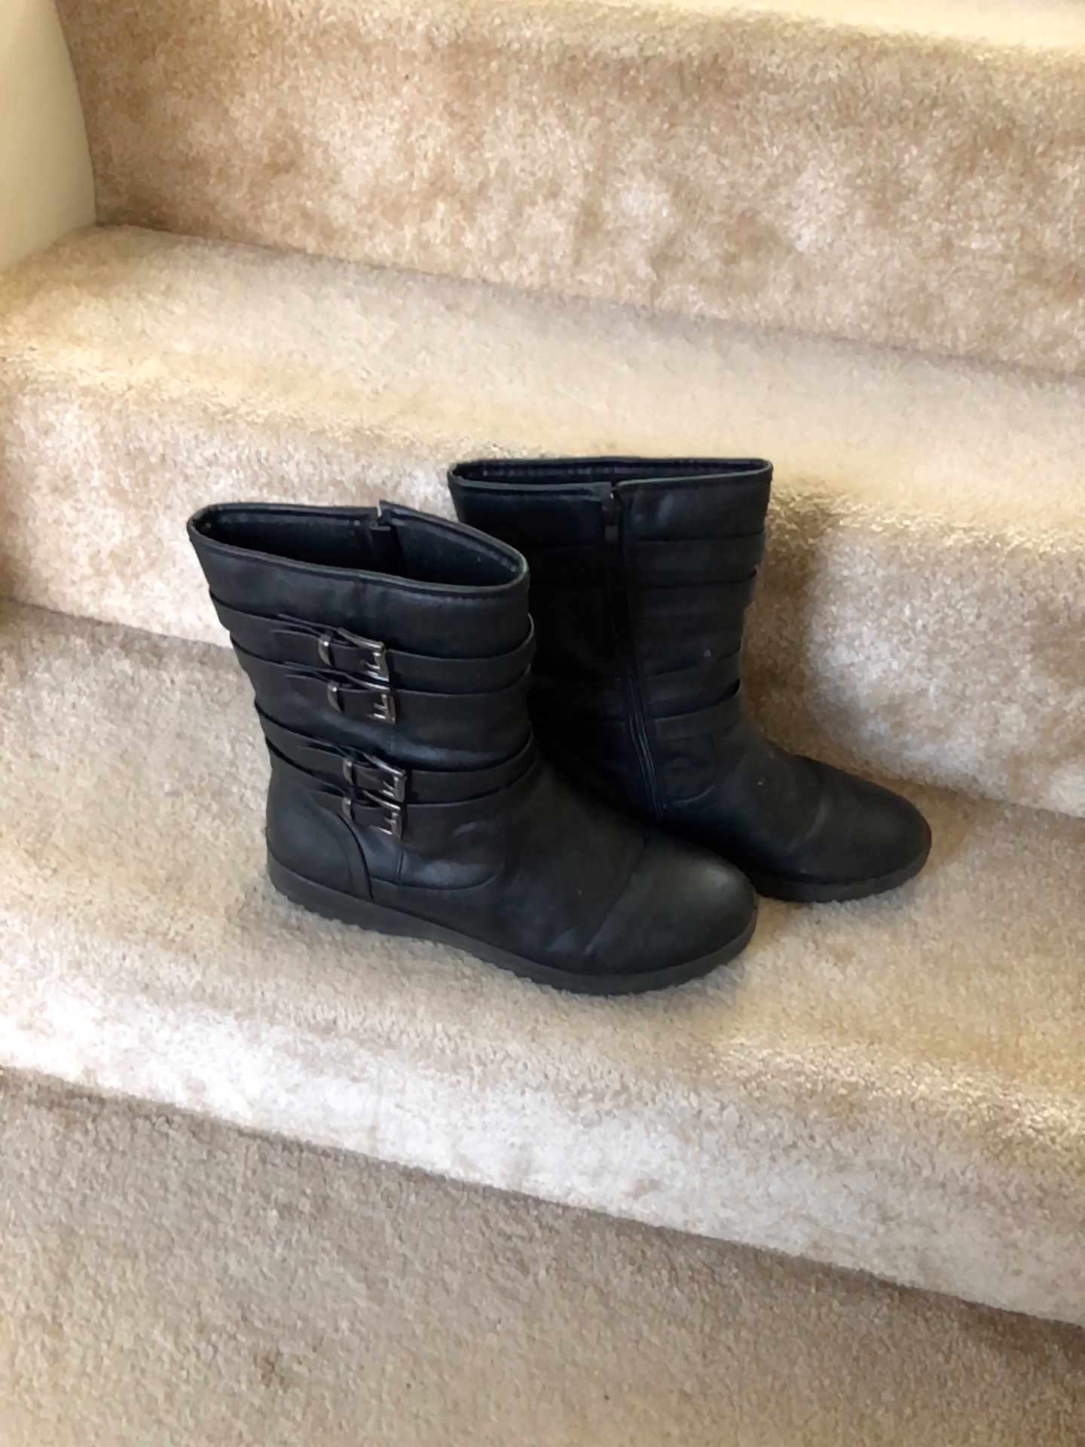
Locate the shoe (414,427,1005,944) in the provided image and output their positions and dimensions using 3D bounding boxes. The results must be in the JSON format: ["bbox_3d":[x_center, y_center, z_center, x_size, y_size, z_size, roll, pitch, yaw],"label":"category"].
[{"bbox_3d":[0.083,-0.021,0.646,0.270,0.218,0.101,10,39,13],"label":"shoe"}]

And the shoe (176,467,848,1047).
[{"bbox_3d":[-0.017,0.016,0.574,0.270,0.199,0.101,14,40,10],"label":"shoe"}]
